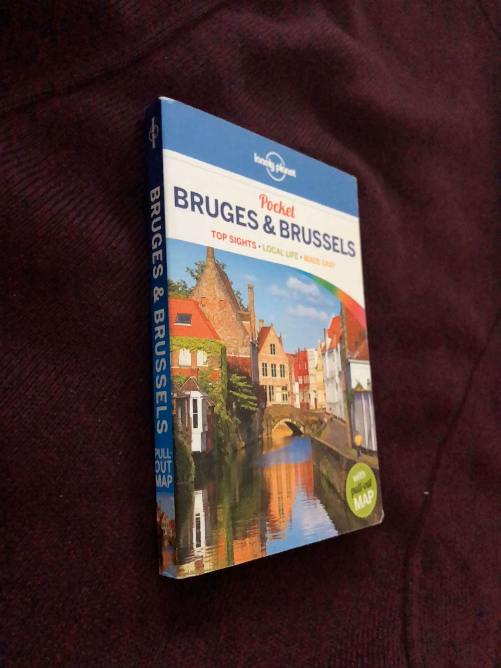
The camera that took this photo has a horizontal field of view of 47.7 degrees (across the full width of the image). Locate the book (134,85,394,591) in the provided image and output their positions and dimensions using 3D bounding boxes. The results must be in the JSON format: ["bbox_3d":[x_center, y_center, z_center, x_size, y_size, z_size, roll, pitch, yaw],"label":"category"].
[{"bbox_3d":[0.010,0.001,0.217,0.111,0.016,0.158,5,78,-43],"label":"book"}]
